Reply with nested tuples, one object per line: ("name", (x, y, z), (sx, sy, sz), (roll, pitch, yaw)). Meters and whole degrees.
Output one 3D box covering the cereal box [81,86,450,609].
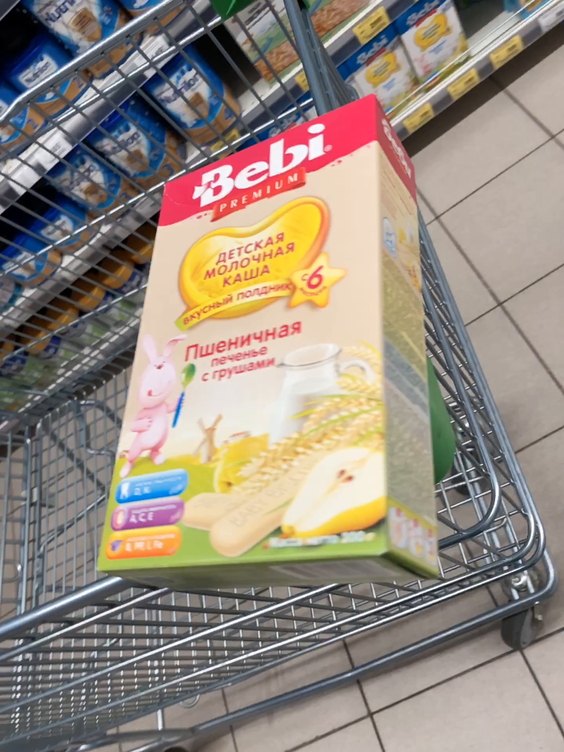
("cereal box", (-0.005, -0.012, 0.278), (0.130, 0.050, 0.210), (-13, 58, 29))
